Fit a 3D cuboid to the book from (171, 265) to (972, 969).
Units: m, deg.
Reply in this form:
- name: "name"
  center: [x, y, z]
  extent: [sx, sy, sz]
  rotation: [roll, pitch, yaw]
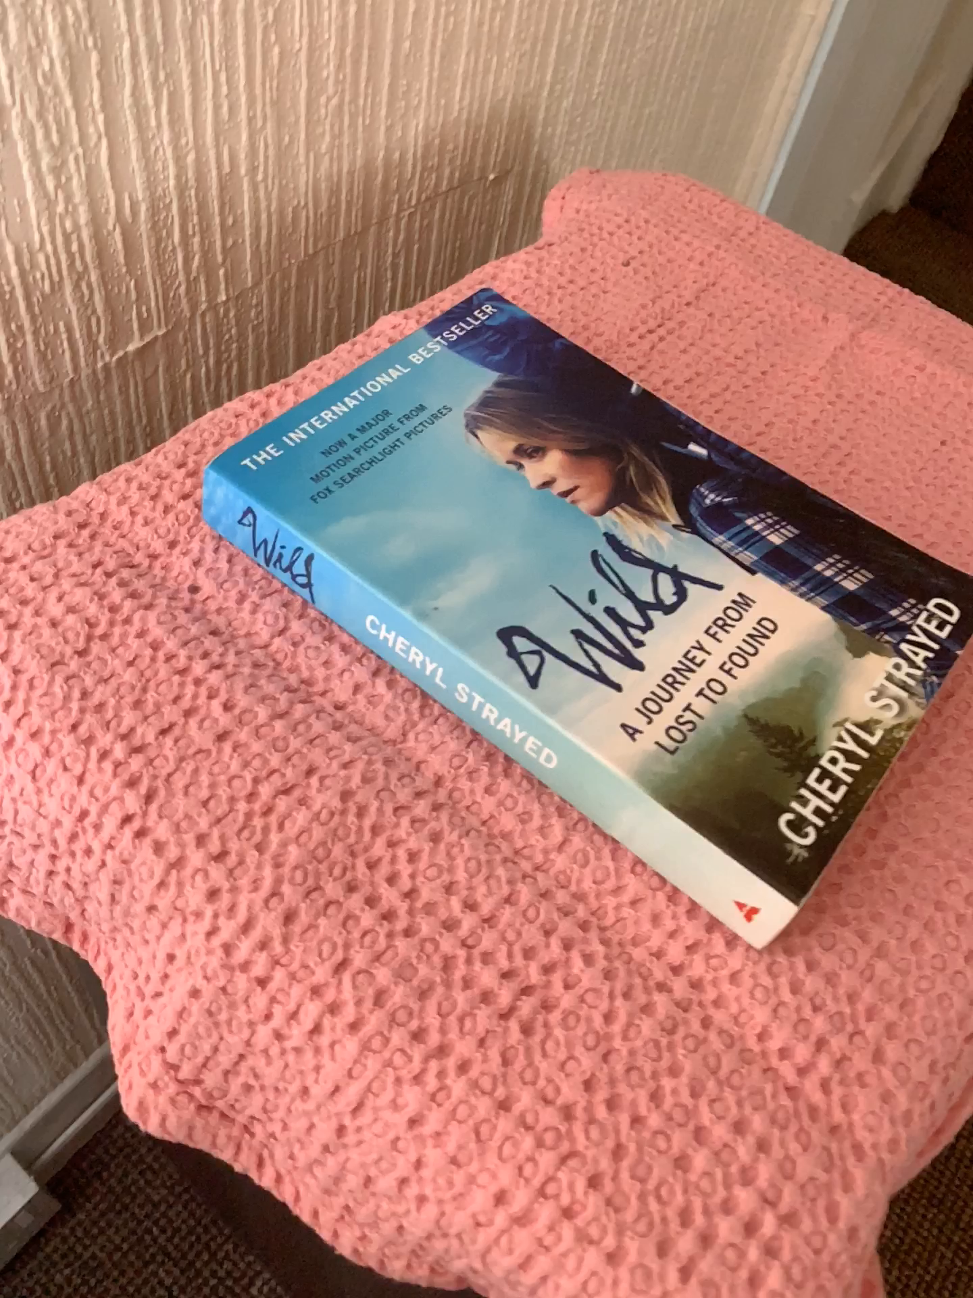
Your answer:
- name: "book"
  center: [0.032, -0.031, 0.303]
  extent: [0.210, 0.030, 0.141]
  rotation: [38, 55, 18]
